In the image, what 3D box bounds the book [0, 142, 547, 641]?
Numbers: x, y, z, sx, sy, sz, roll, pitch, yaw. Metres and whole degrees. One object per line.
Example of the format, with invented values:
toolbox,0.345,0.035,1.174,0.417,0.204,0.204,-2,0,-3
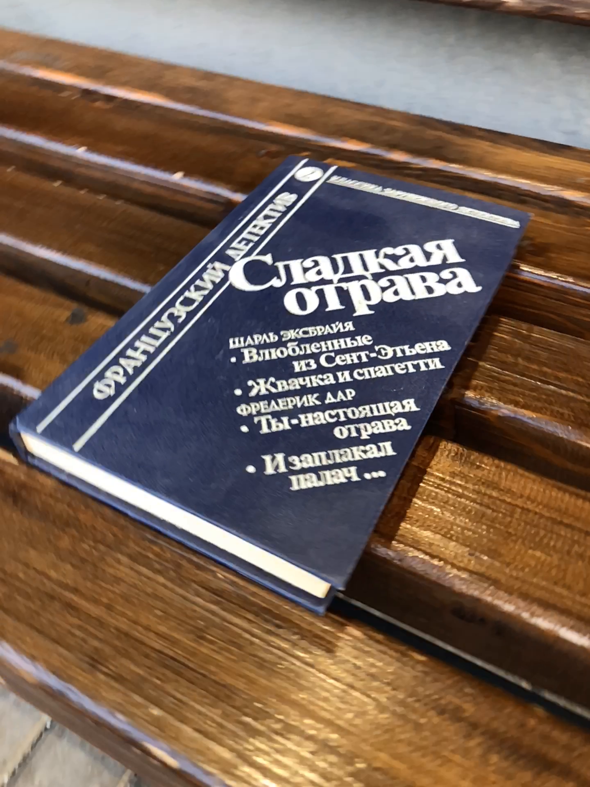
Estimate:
book,0.007,-0.028,0.271,0.133,0.030,0.212,21,52,19
